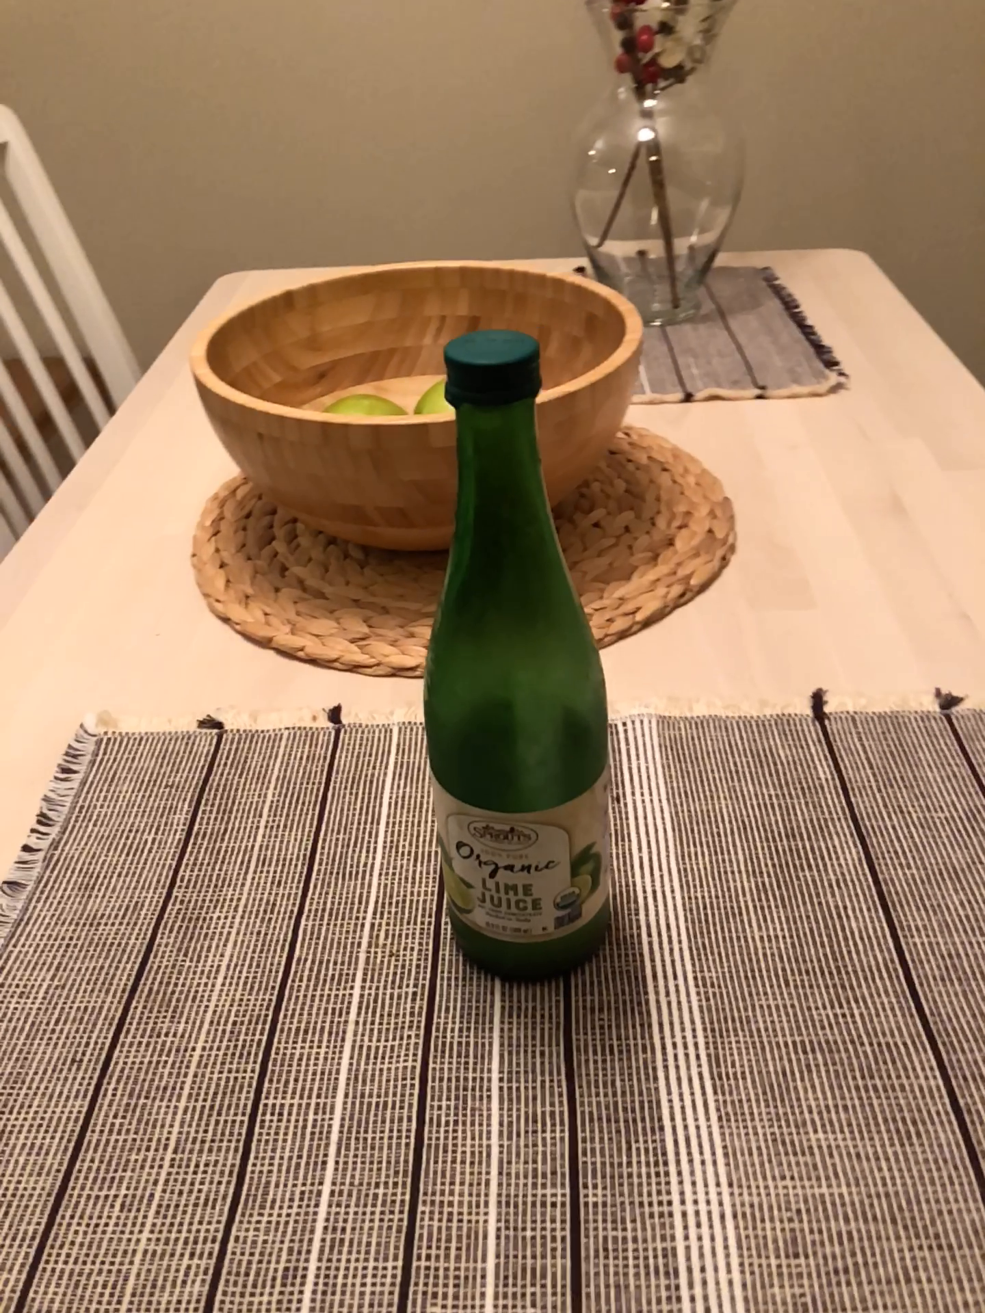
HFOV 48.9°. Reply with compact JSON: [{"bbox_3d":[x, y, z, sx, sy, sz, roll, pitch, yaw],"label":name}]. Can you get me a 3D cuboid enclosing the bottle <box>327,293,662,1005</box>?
[{"bbox_3d":[0.010,0.006,0.377,0.080,0.236,0.081,-2,35,2],"label":"bottle"}]
